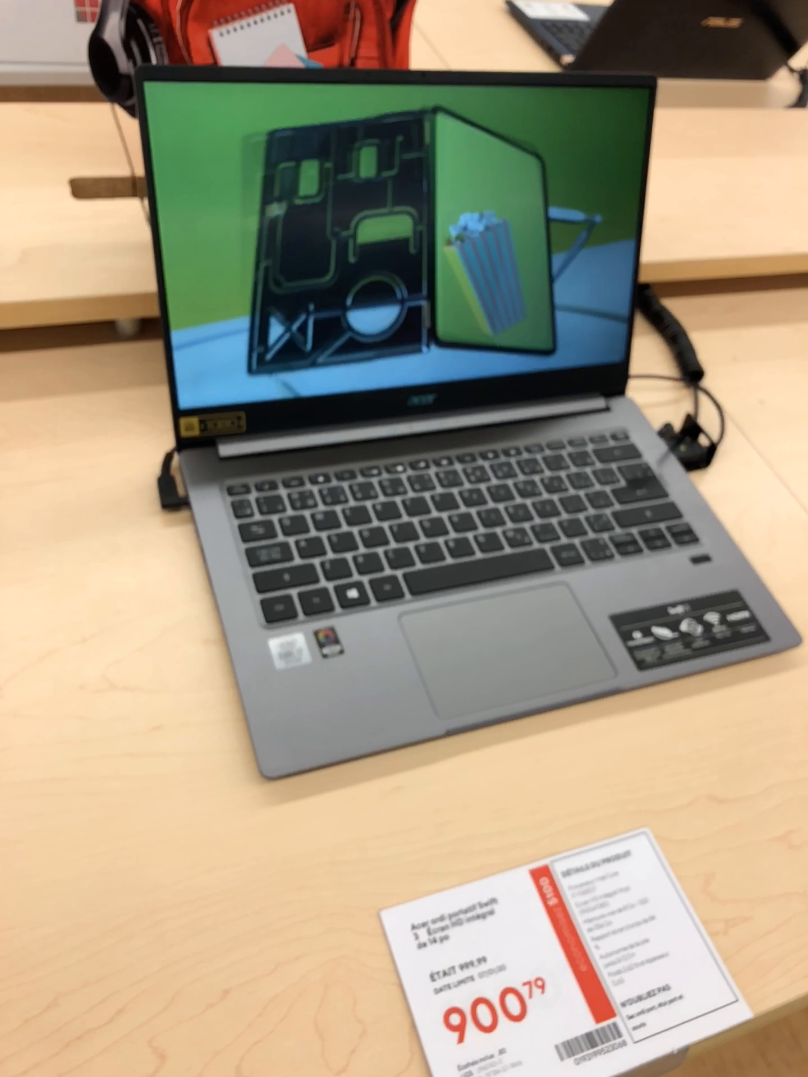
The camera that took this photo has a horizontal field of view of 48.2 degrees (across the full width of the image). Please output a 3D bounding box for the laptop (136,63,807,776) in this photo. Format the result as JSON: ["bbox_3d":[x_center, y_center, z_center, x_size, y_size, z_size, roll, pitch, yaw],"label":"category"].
[{"bbox_3d":[0.047,-0.091,0.489,0.315,0.178,0.312,-9,53,-20],"label":"laptop"}]
